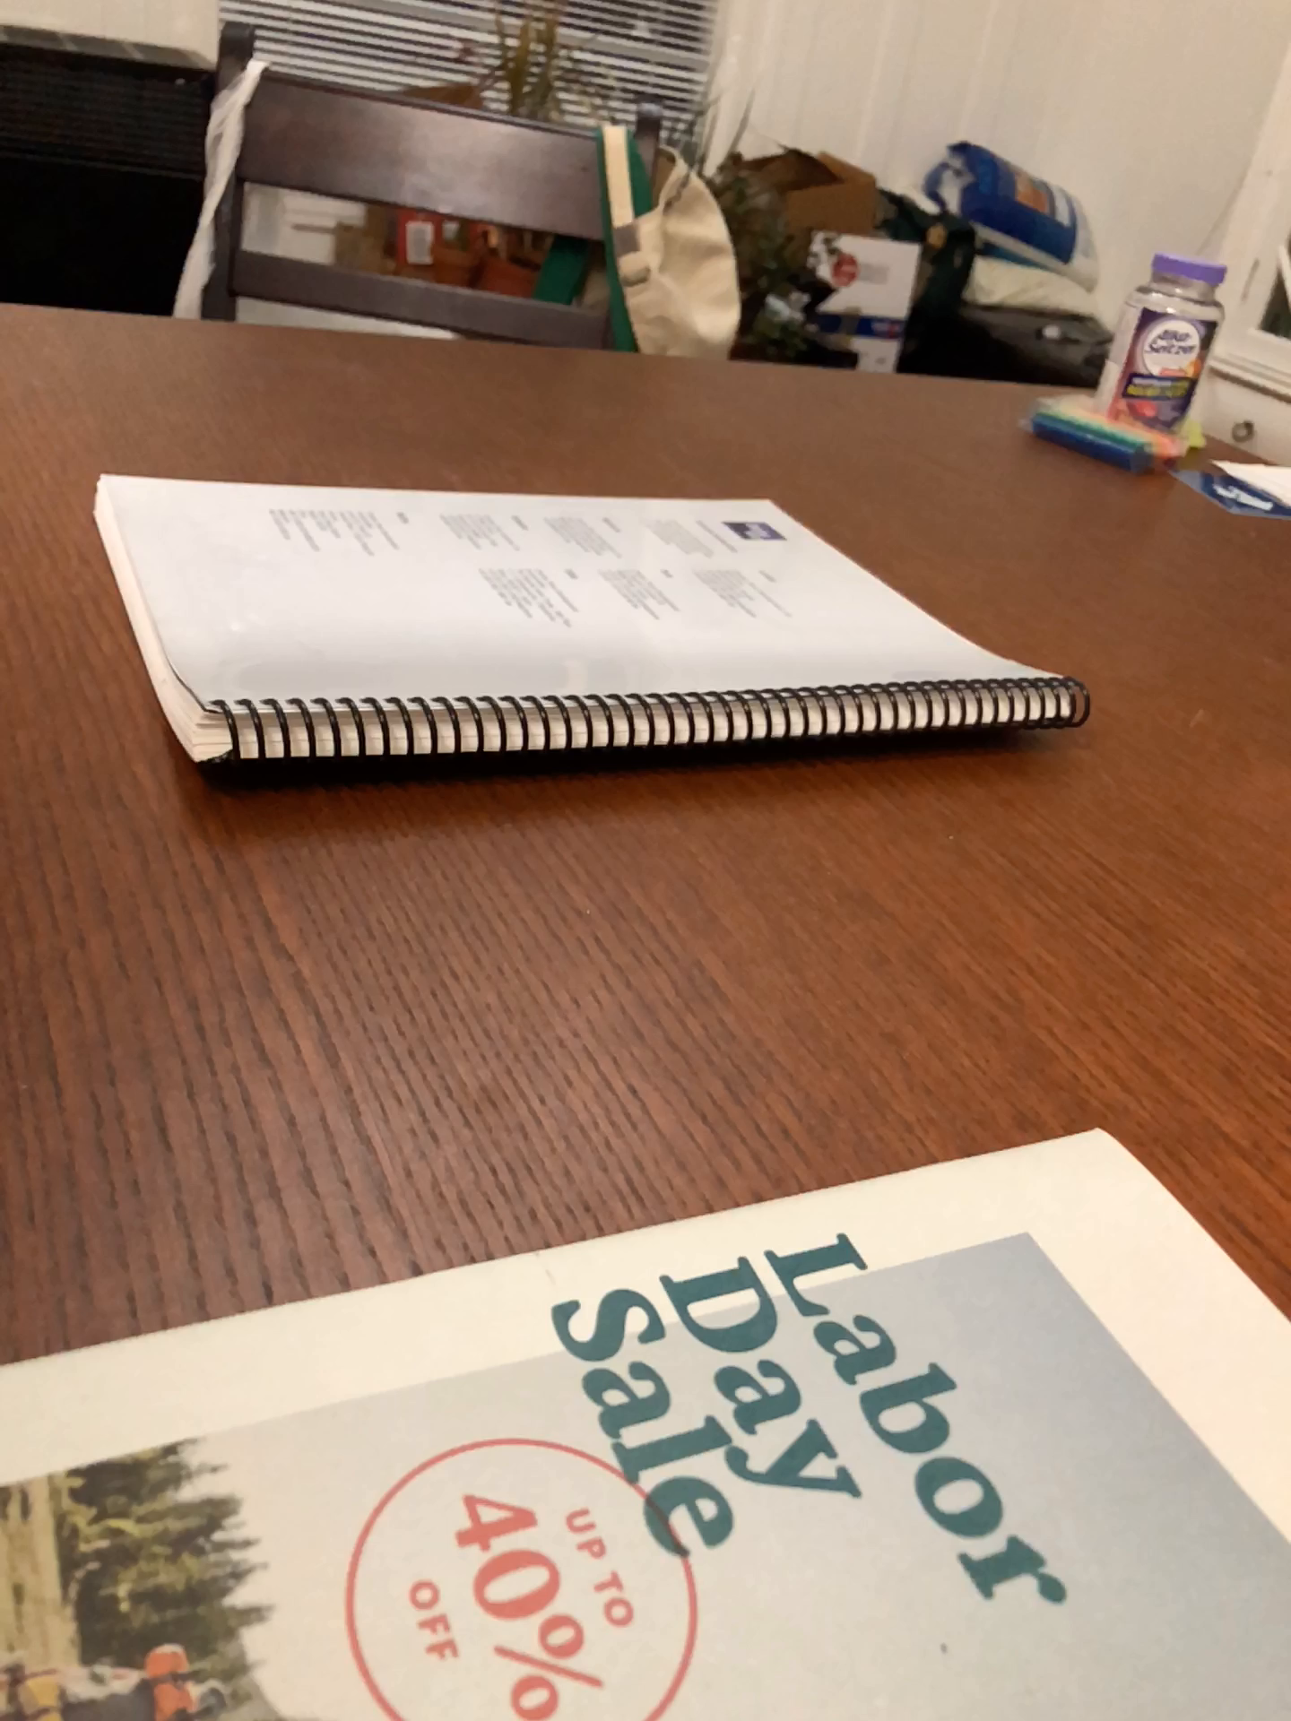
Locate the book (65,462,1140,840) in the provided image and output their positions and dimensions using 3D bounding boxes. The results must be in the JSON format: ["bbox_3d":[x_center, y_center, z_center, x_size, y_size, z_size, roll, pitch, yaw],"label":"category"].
[{"bbox_3d":[-0.024,-0.086,0.487,0.300,0.020,0.231,-5,33,-26],"label":"book"}]
